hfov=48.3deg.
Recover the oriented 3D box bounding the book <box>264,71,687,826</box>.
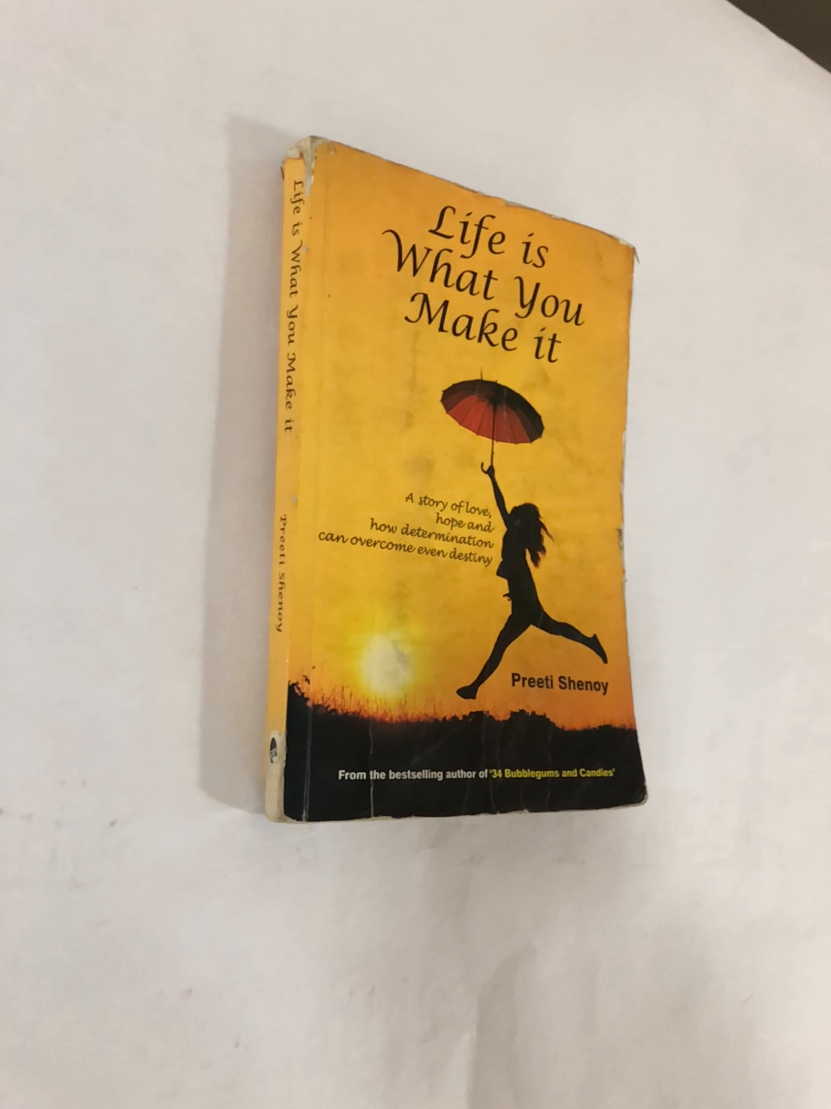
[{"bbox_3d":[0.025,-0.028,0.294,0.141,0.020,0.210,7,78,-32],"label":"book"}]
